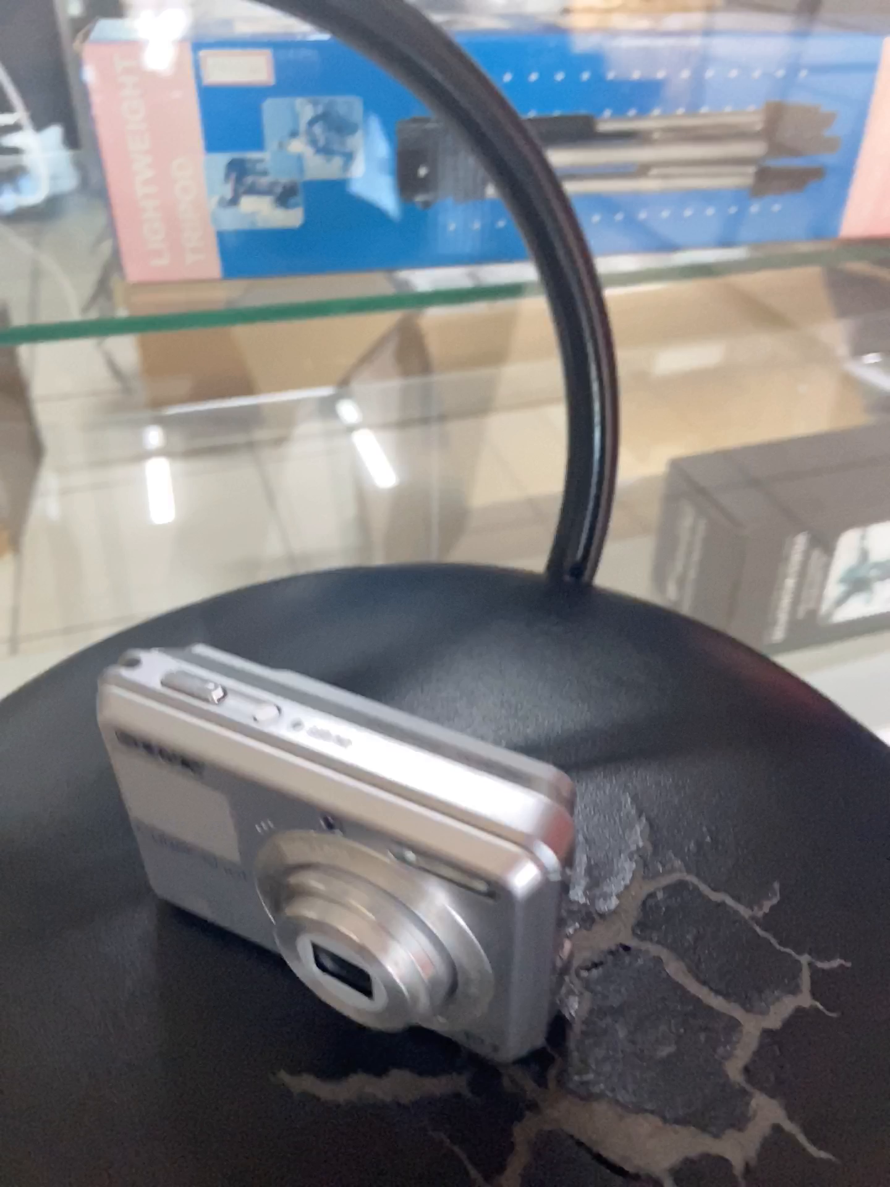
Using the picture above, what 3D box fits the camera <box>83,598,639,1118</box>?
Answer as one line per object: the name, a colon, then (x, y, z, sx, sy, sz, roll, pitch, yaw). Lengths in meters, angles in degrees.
camera: (-0.014, 0.044, 0.167, 0.083, 0.057, 0.035, 17, 39, 21)
